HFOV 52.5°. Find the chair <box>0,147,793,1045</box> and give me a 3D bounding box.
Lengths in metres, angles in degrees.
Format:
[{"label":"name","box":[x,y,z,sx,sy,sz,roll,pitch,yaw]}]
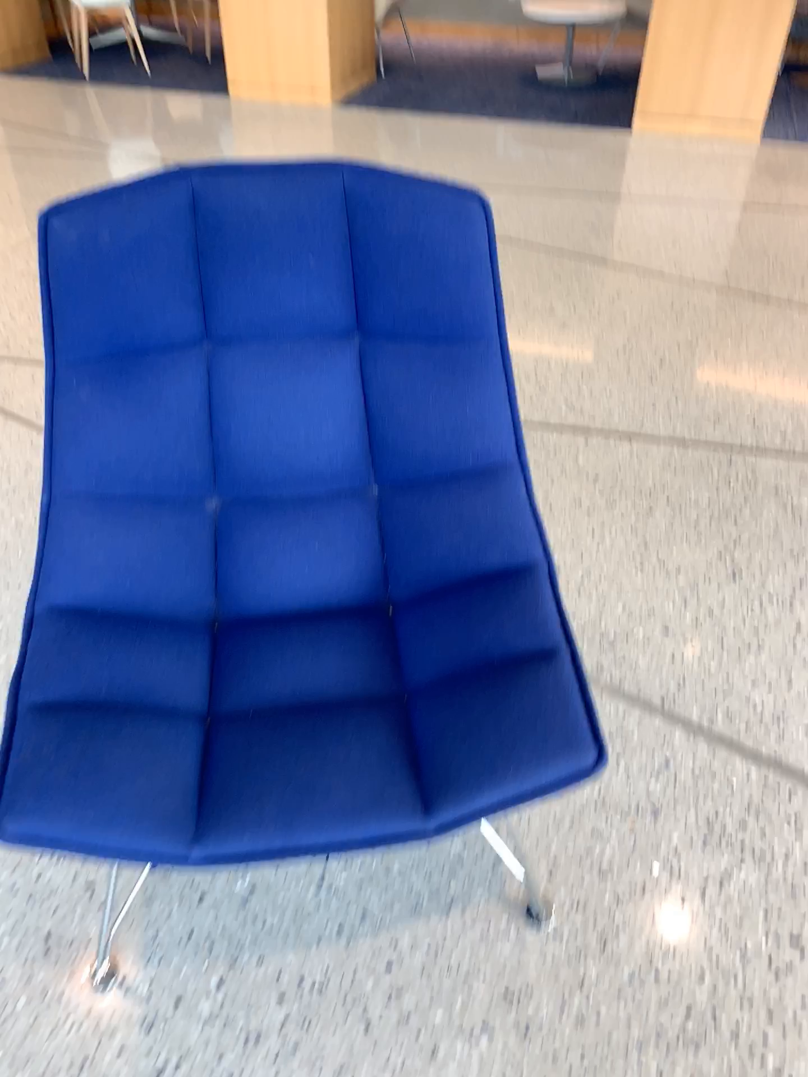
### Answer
[{"label":"chair","box":[-0.147,0.054,1.221,0.798,0.962,0.836,-4,39,-6]}]
